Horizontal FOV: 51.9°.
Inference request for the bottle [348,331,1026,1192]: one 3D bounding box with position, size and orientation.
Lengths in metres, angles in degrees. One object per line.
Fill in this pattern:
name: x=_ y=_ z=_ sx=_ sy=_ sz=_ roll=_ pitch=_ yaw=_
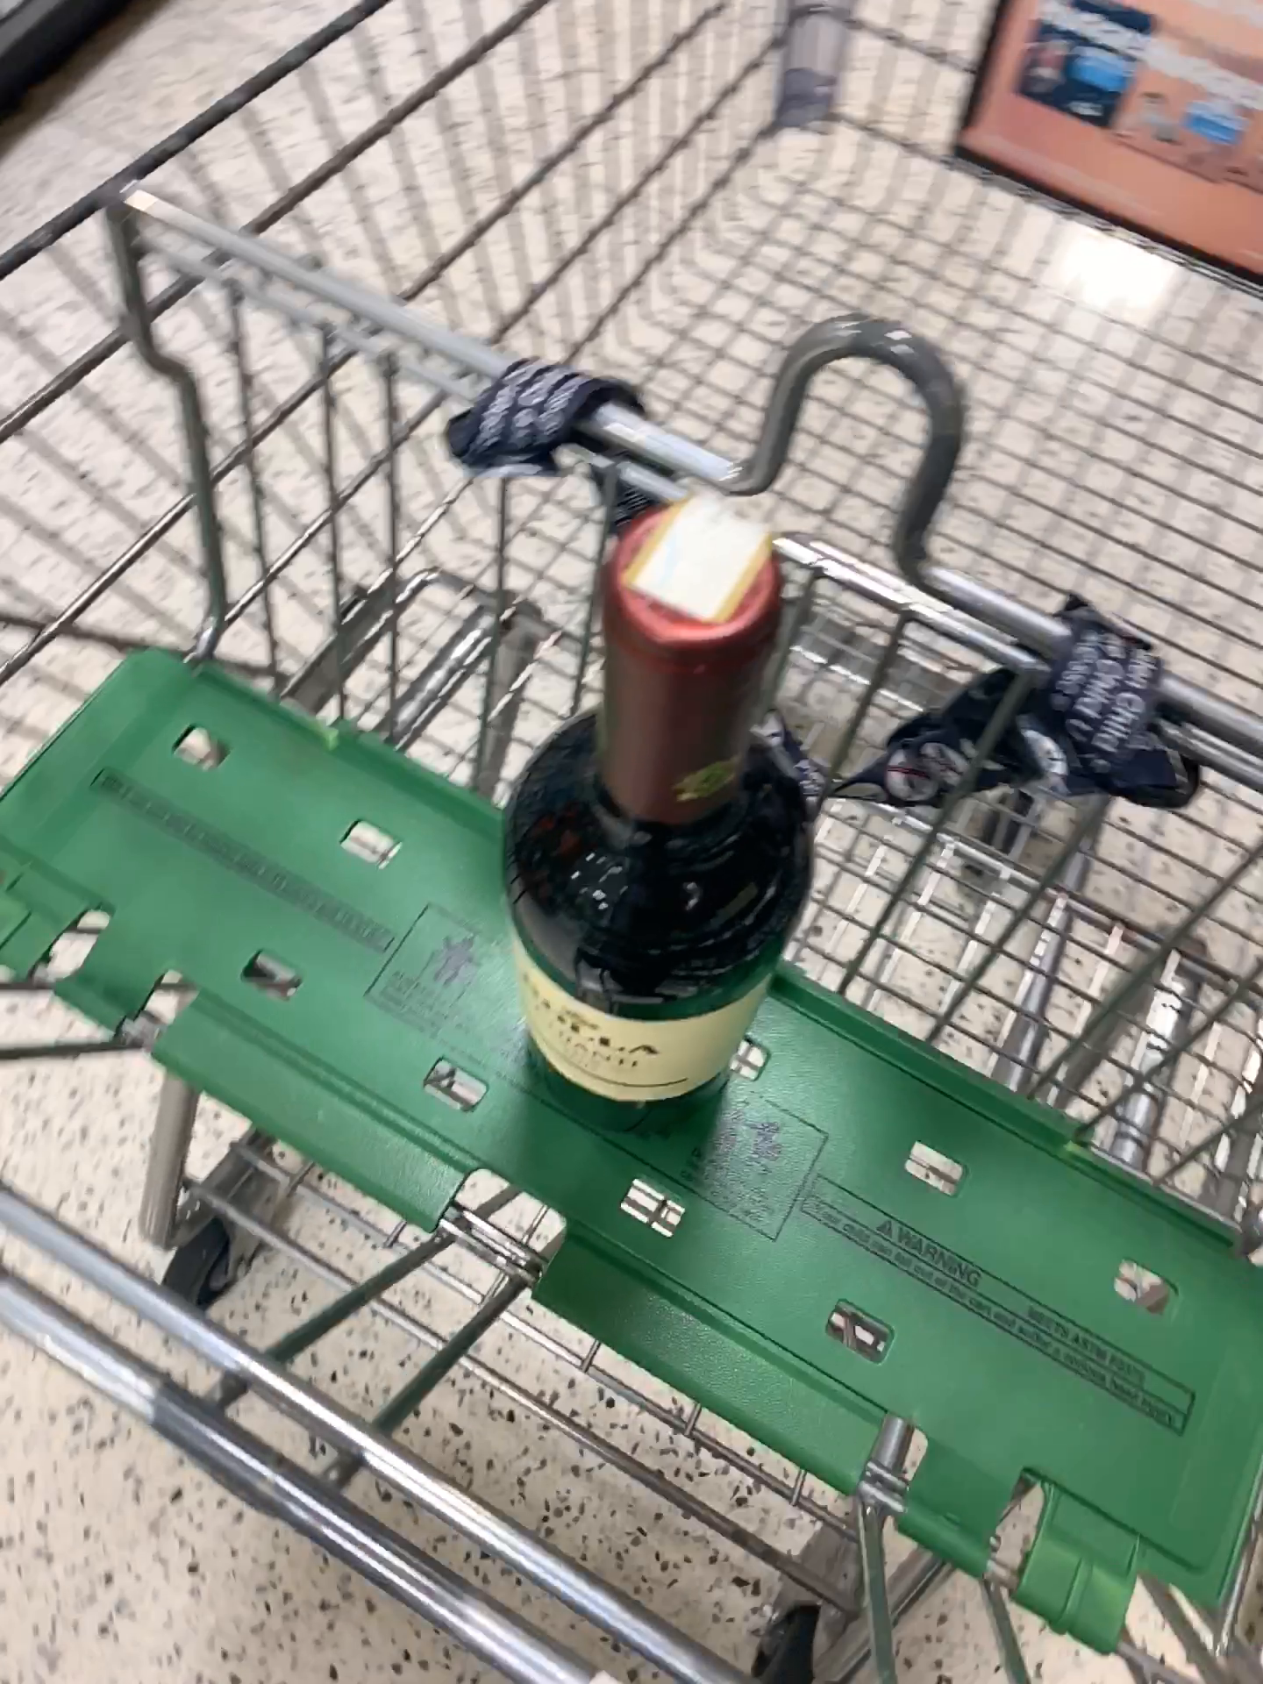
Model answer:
bottle: x=0.007 y=0.013 z=0.334 sx=0.080 sy=0.268 sz=0.080 roll=1 pitch=66 yaw=-1
